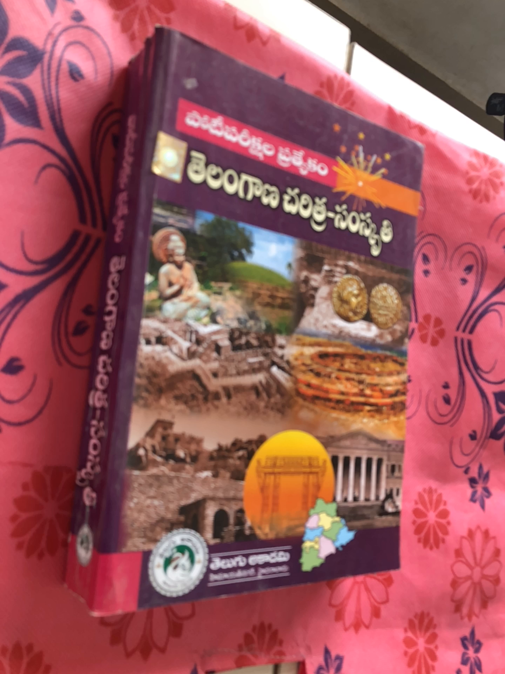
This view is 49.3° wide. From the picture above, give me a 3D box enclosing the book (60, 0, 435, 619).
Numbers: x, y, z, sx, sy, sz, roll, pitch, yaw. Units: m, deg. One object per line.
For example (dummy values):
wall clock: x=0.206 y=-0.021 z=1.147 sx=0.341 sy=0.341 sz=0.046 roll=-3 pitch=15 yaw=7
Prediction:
book: x=0.014 y=-0.009 z=0.318 sx=0.201 sy=0.050 sz=0.280 roll=8 pitch=82 yaw=-33
